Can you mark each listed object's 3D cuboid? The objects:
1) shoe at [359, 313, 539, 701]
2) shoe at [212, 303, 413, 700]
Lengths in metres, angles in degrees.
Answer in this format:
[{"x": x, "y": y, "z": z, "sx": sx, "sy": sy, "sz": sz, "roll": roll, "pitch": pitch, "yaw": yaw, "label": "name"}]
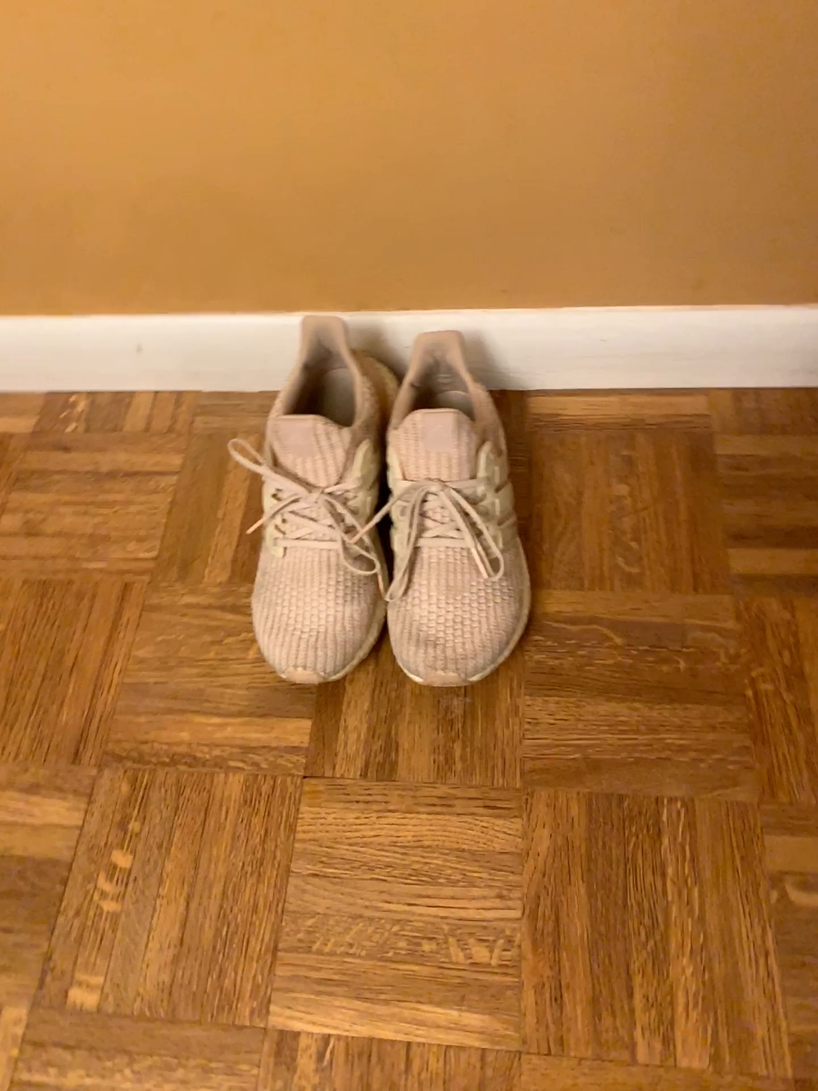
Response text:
[{"x": 0.038, "y": -0.026, "z": 0.624, "sx": 0.110, "sy": 0.120, "sz": 0.261, "roll": 1, "pitch": 72, "yaw": 8, "label": "shoe"}, {"x": -0.064, "y": -0.032, "z": 0.659, "sx": 0.100, "sy": 0.130, "sz": 0.281, "roll": 1, "pitch": 69, "yaw": 8, "label": "shoe"}]
